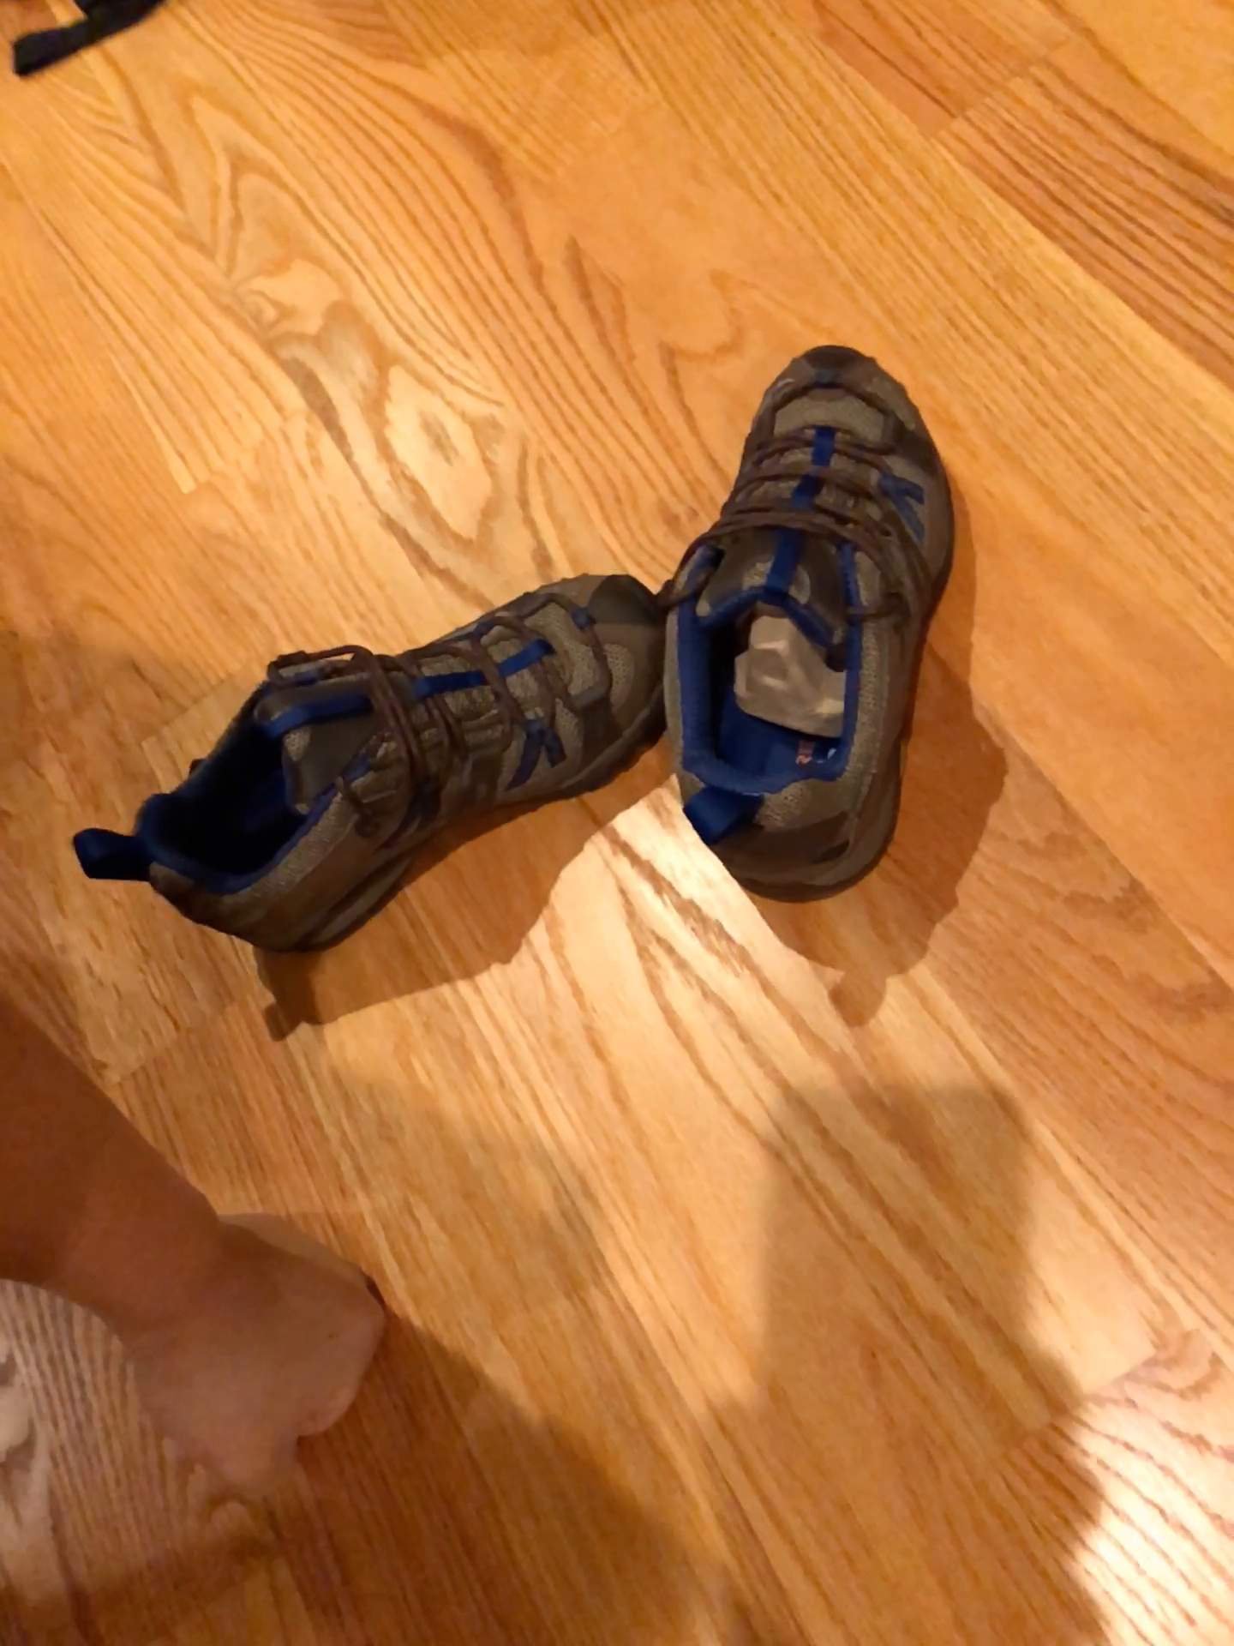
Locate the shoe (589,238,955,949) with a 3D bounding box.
[{"bbox_3d":[0.069,-0.089,0.529,0.097,0.094,0.252,3,70,19],"label":"shoe"}]

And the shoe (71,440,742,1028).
[{"bbox_3d":[-0.083,-0.030,0.567,0.240,0.106,0.095,-34,63,3],"label":"shoe"}]
